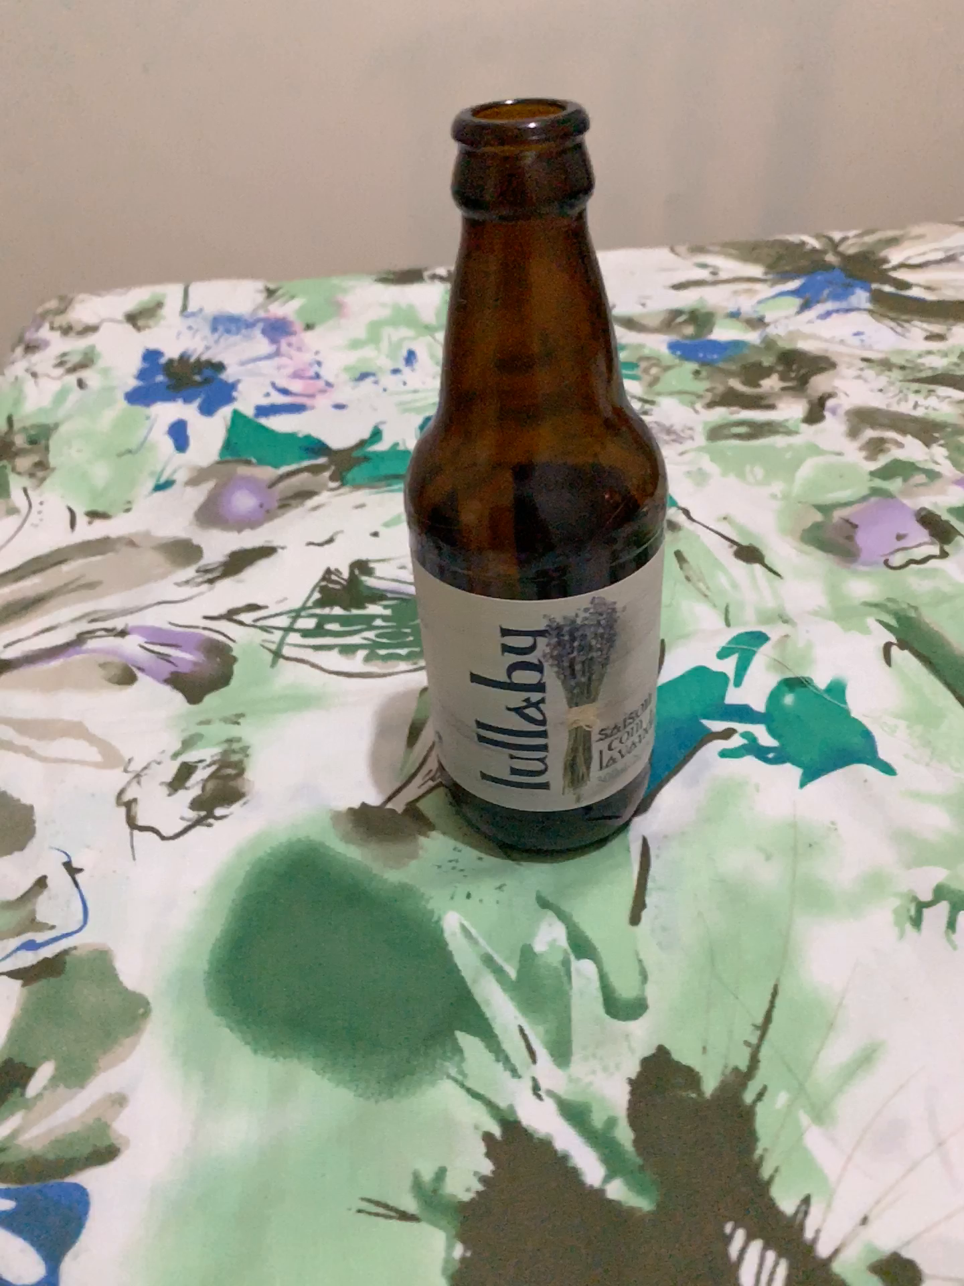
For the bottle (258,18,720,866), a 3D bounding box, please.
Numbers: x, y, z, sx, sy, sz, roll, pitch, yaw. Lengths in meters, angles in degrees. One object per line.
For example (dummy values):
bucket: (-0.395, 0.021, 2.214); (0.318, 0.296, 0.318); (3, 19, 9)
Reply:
bottle: (0.009, -0.034, 0.233); (0.070, 0.179, 0.070); (-3, 38, 2)
